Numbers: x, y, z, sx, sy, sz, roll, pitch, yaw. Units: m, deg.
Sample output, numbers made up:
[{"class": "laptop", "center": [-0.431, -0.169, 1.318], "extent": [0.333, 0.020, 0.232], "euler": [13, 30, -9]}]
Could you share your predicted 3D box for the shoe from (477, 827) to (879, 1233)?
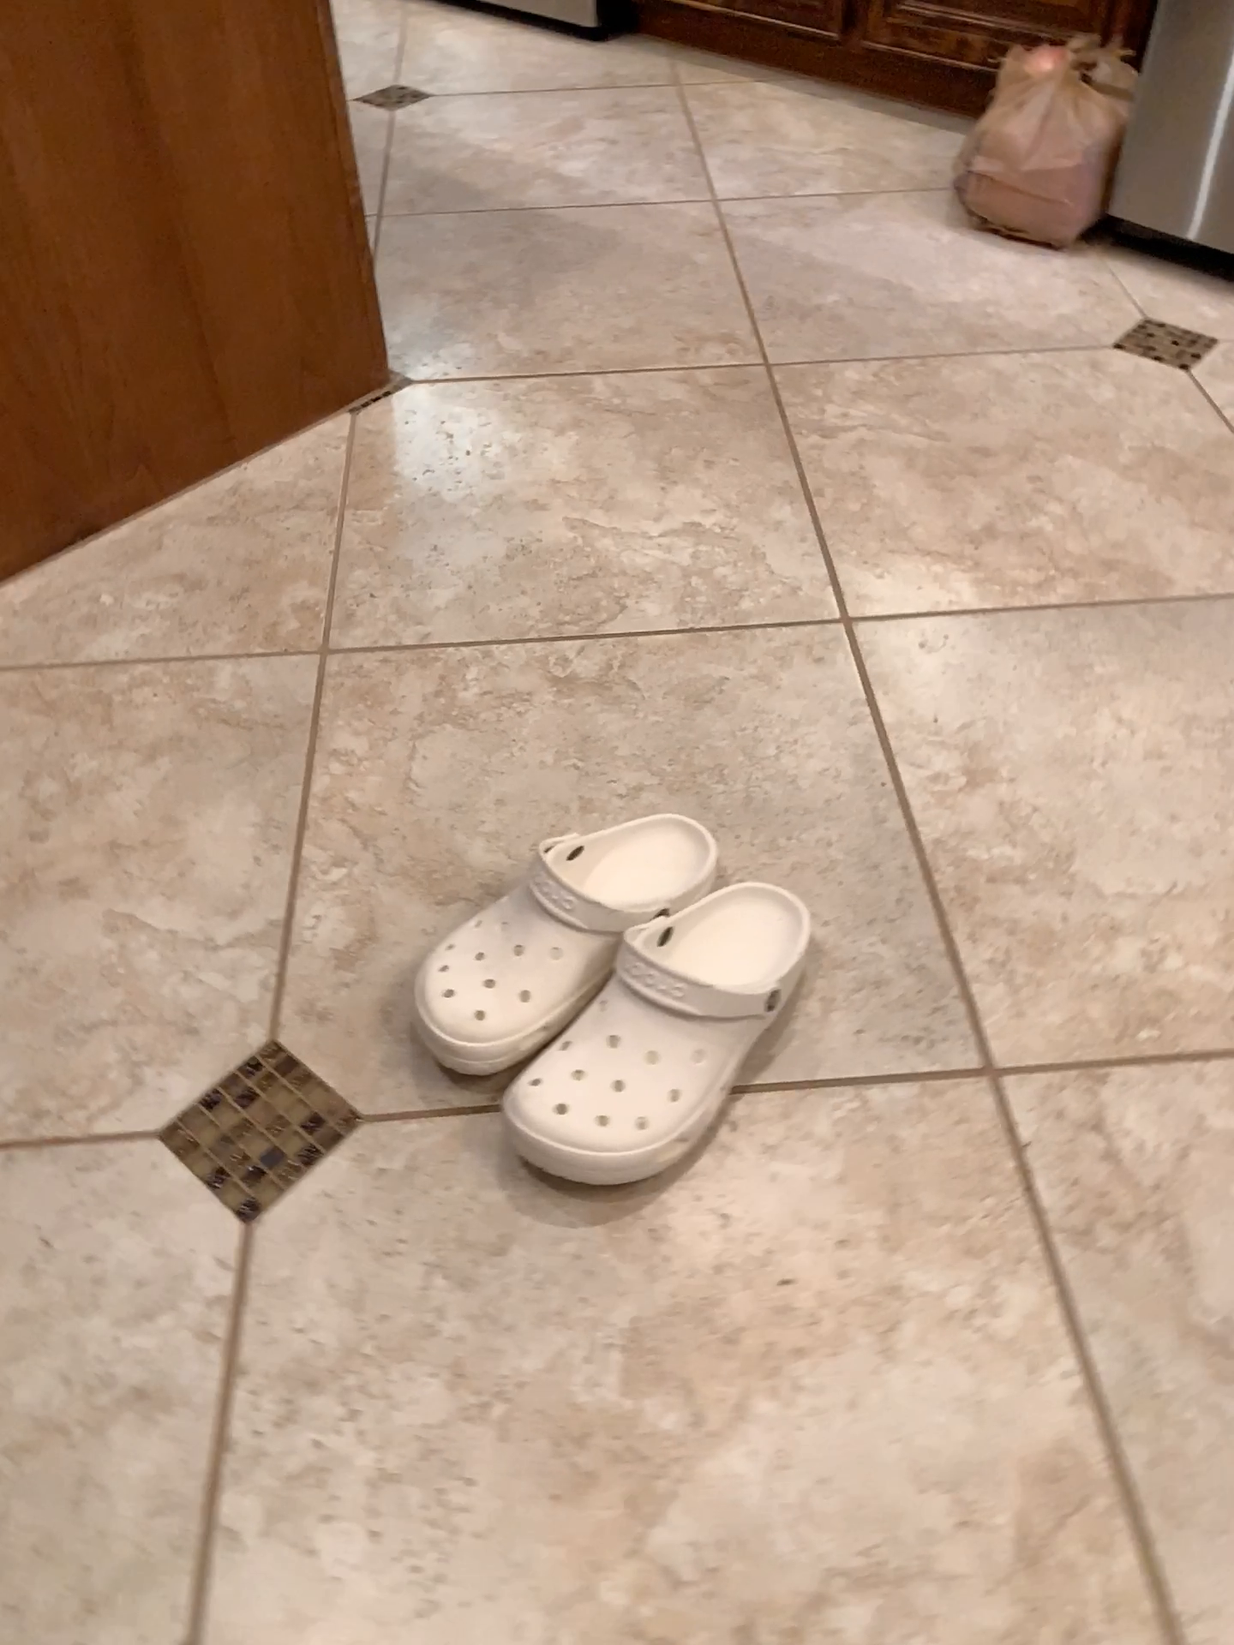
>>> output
[{"class": "shoe", "center": [0.046, 0.128, 0.844], "extent": [0.119, 0.073, 0.261], "euler": [34, 56, 28]}]

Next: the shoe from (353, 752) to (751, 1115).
[{"class": "shoe", "center": [-0.041, 0.071, 0.914], "extent": [0.261, 0.073, 0.130], "euler": [-36, 56, -27]}]
